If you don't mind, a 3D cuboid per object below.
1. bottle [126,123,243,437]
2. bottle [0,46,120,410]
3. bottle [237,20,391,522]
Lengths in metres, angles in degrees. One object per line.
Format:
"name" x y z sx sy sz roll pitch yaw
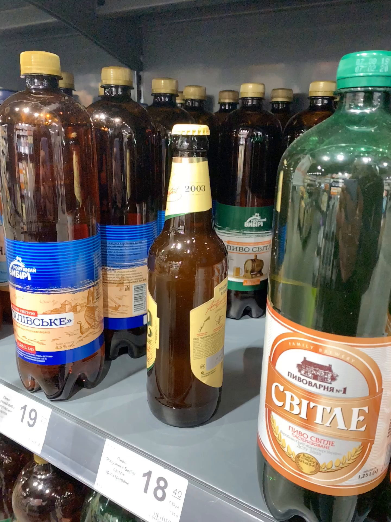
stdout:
"bottle" -0.007 0.015 0.344 0.070 0.248 0.068 1 17 0
"bottle" -0.127 -0.022 0.356 0.084 0.284 0.070 8 18 22
"bottle" 0.084 0.028 0.238 0.084 0.278 0.070 11 20 30
